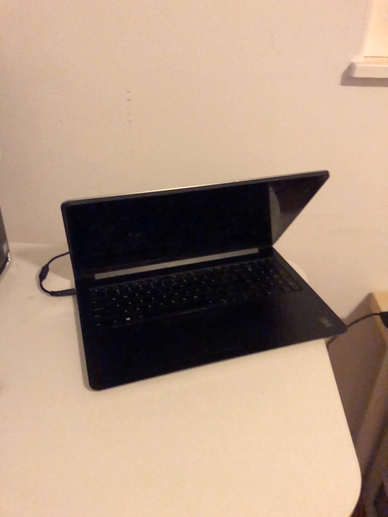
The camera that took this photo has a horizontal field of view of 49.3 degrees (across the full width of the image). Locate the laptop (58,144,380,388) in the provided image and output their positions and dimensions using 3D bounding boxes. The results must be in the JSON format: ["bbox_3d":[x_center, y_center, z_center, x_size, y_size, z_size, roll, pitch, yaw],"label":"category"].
[{"bbox_3d":[0.011,-0.016,0.633,0.373,0.207,0.252,-9,33,-14],"label":"laptop"}]
